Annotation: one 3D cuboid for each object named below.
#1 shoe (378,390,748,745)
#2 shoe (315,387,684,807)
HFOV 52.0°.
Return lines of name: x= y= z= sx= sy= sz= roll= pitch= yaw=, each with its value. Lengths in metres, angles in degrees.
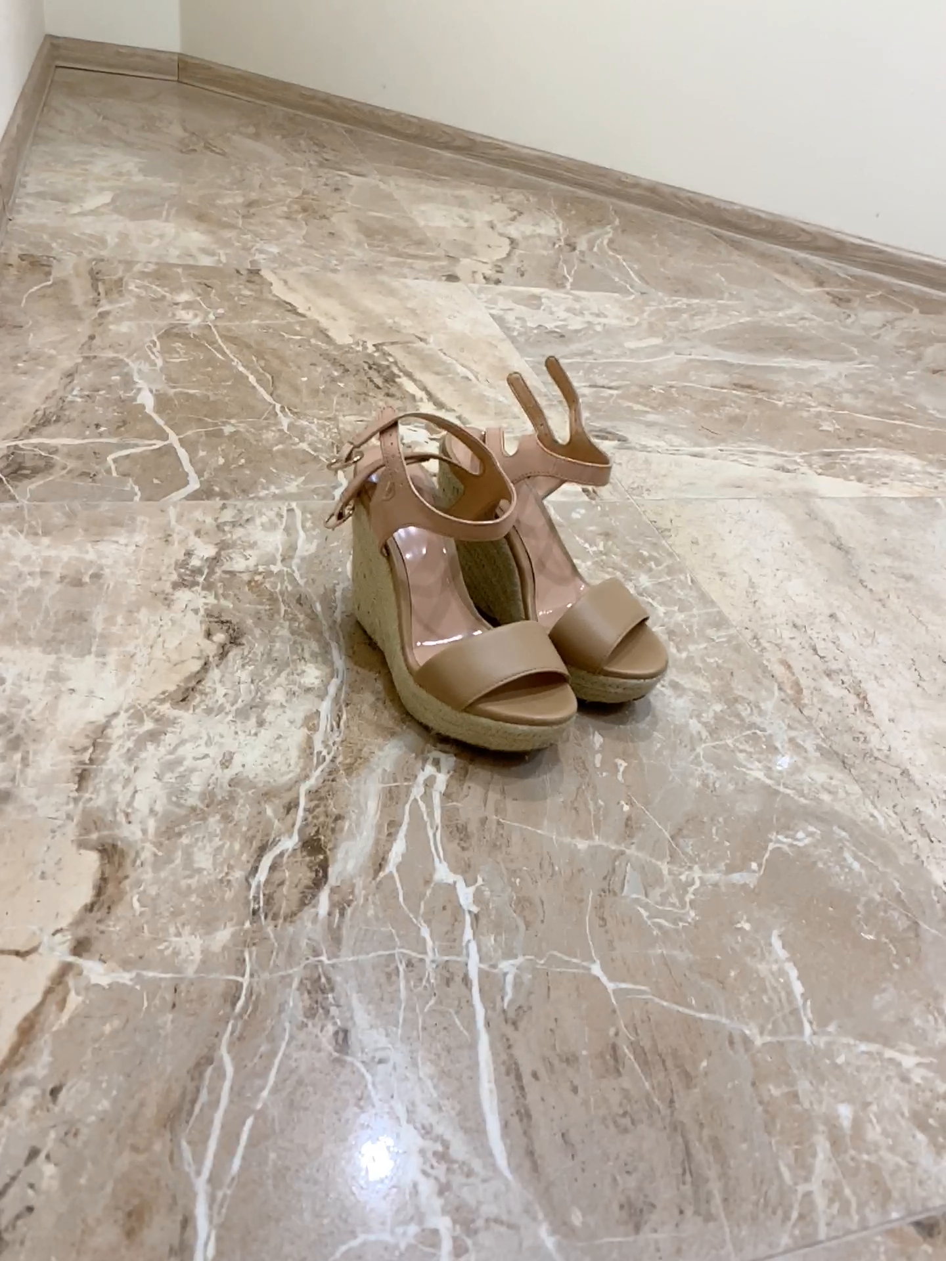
shoe: x=0.048 y=-0.049 z=0.636 sx=0.211 sy=0.129 sz=0.090 roll=35 pitch=42 yaw=30
shoe: x=0.001 y=-0.030 z=0.586 sx=0.090 sy=0.149 sz=0.211 roll=-18 pitch=44 yaw=-34
